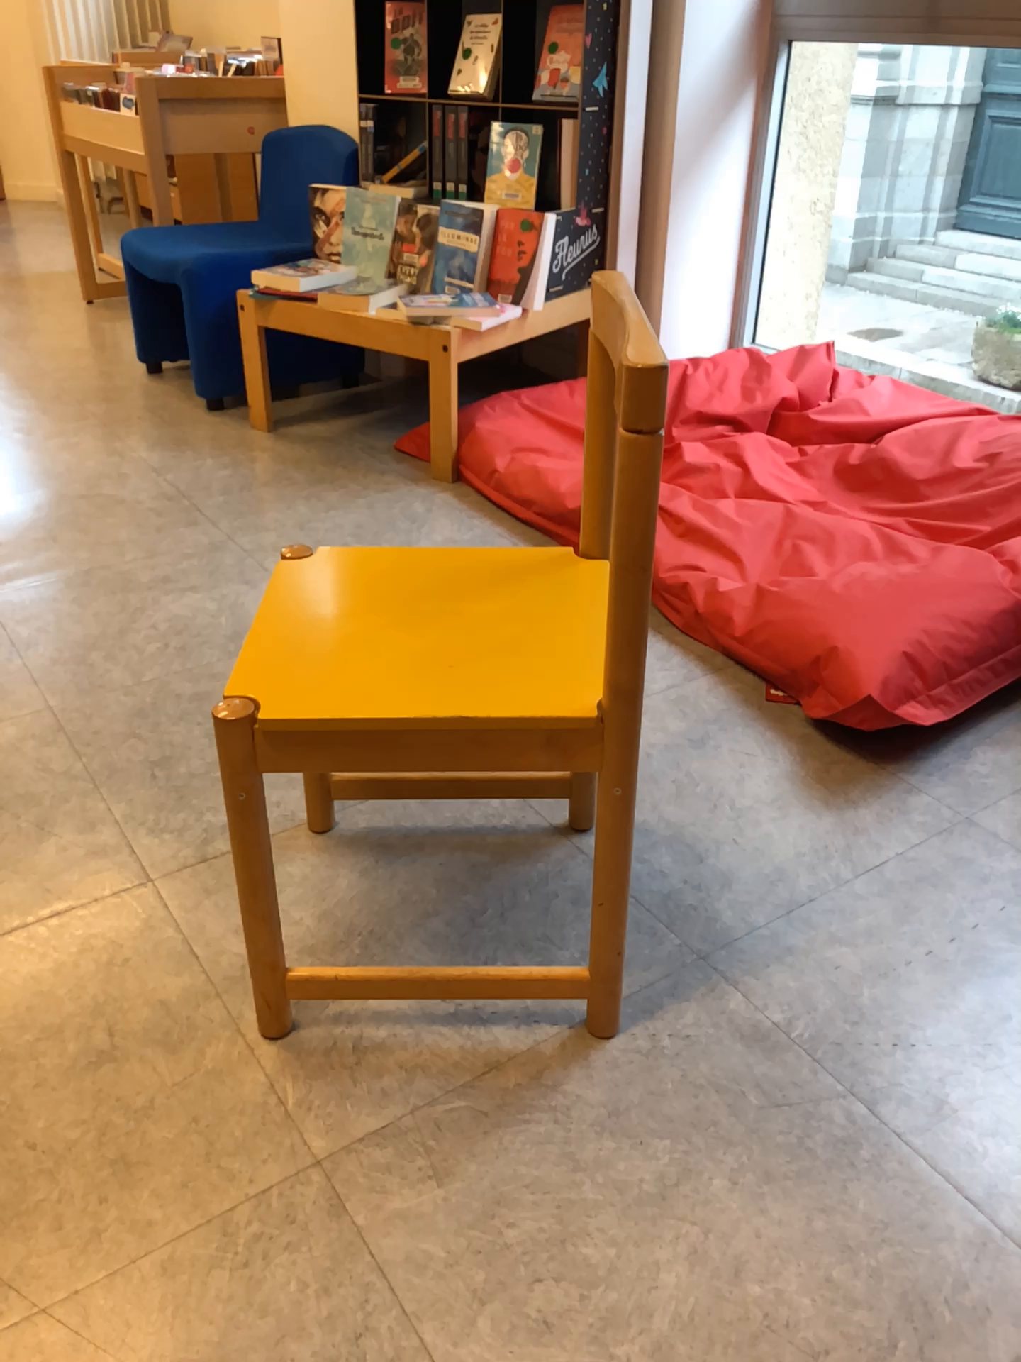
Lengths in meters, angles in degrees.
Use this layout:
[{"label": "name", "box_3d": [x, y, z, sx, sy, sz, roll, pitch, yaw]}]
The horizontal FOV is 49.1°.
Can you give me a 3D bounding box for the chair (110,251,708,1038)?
[{"label": "chair", "box_3d": [-0.078, -0.047, 1.146, 0.420, 0.666, 0.453, 0, 30, -1]}]
